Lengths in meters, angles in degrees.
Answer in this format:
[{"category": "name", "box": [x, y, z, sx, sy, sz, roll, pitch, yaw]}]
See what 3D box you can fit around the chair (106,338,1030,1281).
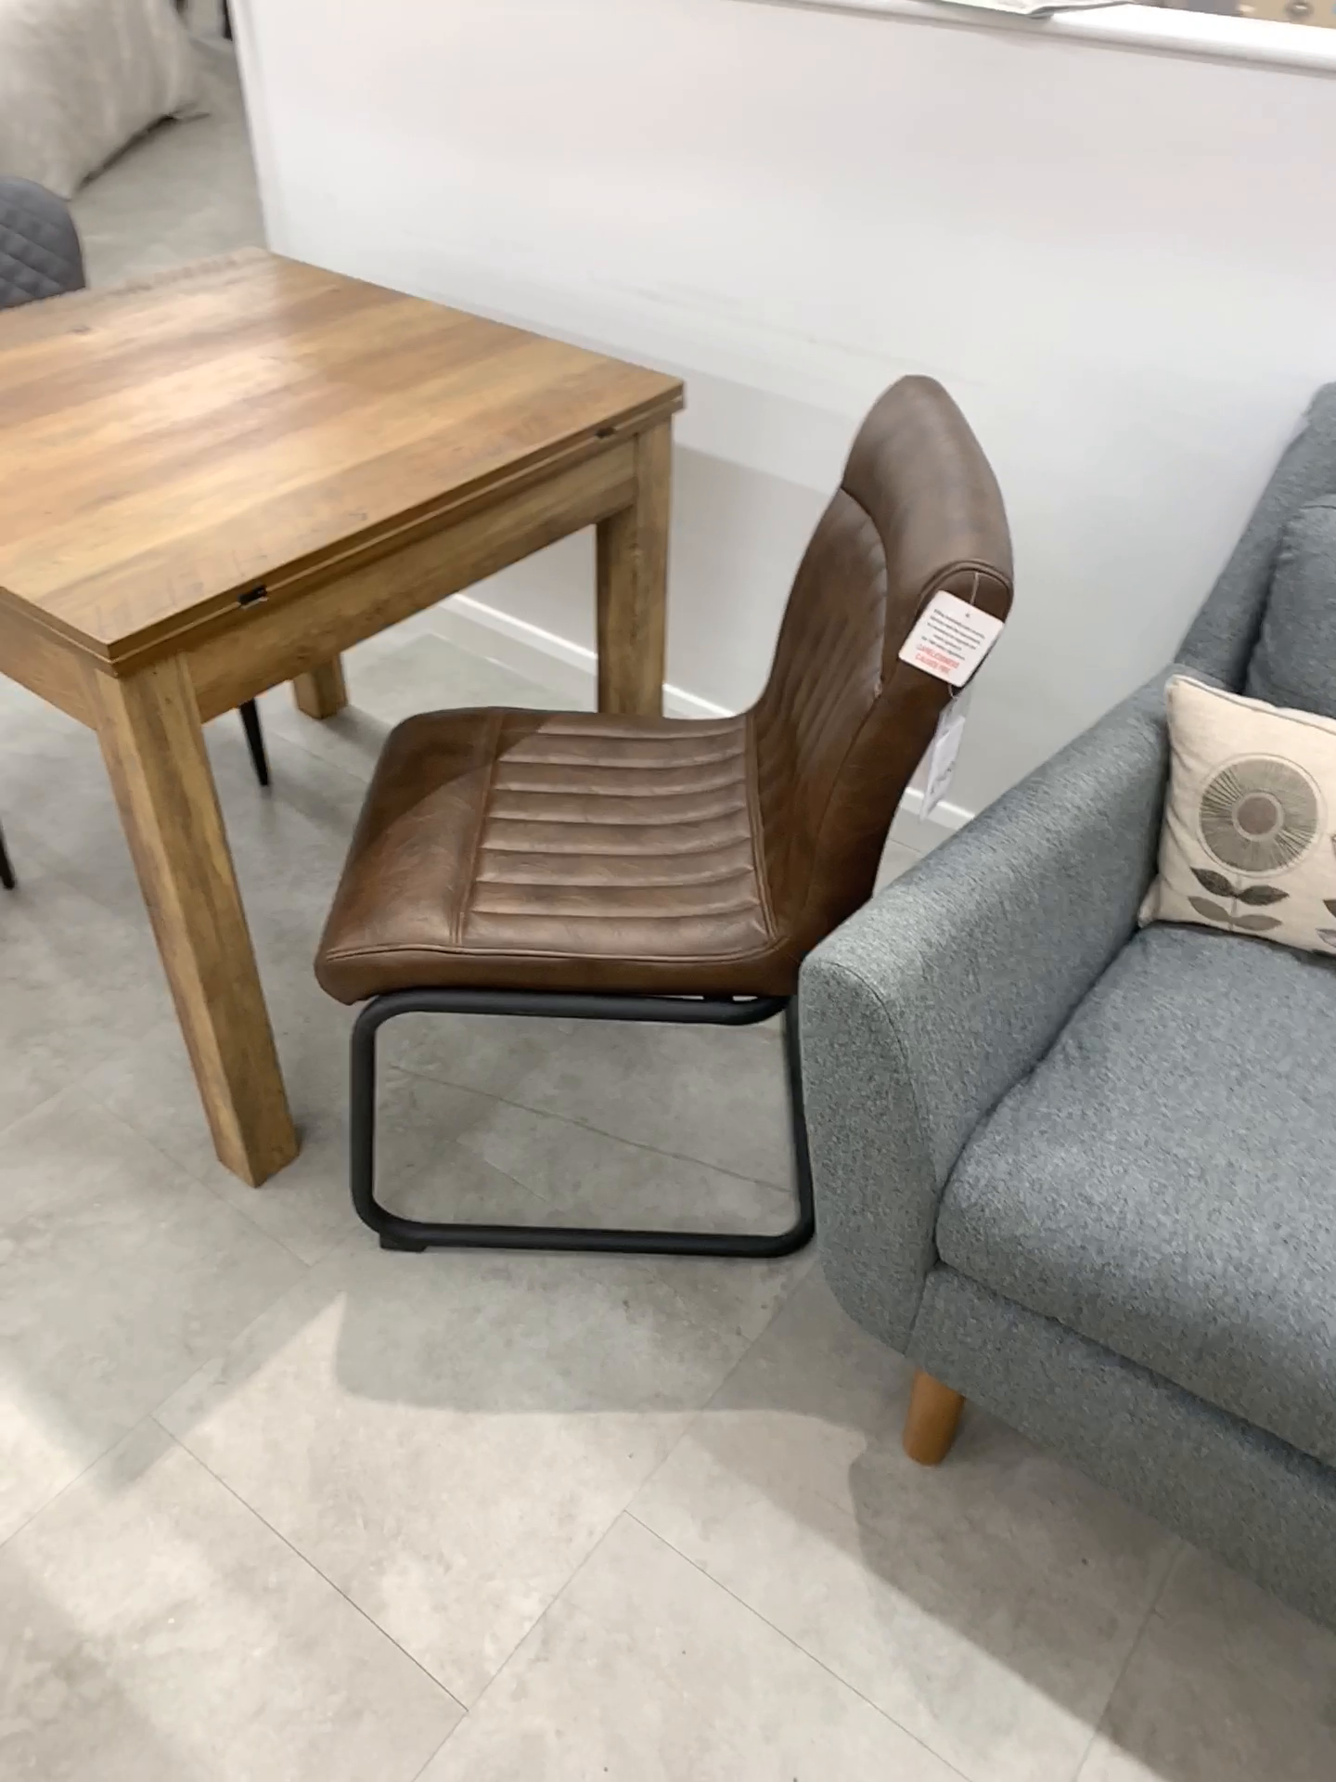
[{"category": "chair", "box": [-0.067, -0.064, 1.370, 0.632, 0.773, 0.503, 2, 40, 1]}]
